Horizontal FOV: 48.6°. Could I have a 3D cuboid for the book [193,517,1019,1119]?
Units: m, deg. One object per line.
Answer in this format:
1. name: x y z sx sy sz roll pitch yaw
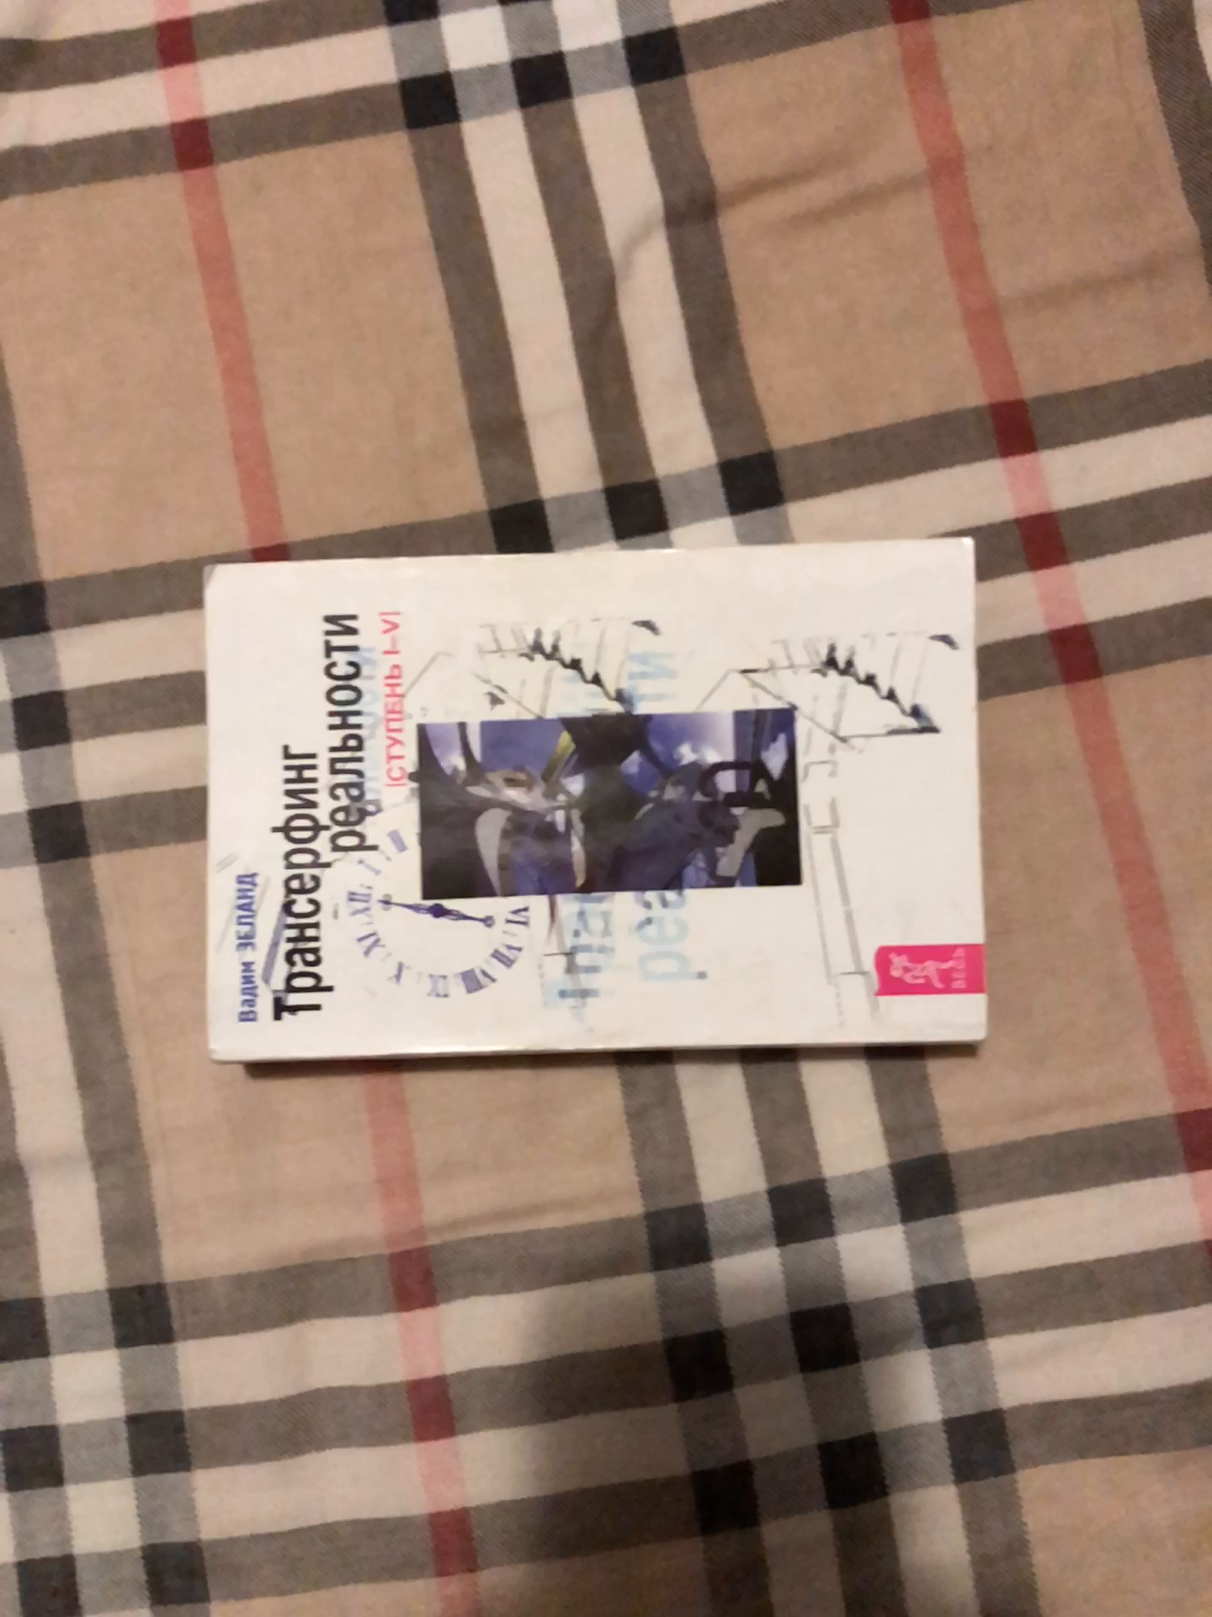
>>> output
1. book: -0.003 0.003 0.360 0.202 0.038 0.143 -3 83 0
